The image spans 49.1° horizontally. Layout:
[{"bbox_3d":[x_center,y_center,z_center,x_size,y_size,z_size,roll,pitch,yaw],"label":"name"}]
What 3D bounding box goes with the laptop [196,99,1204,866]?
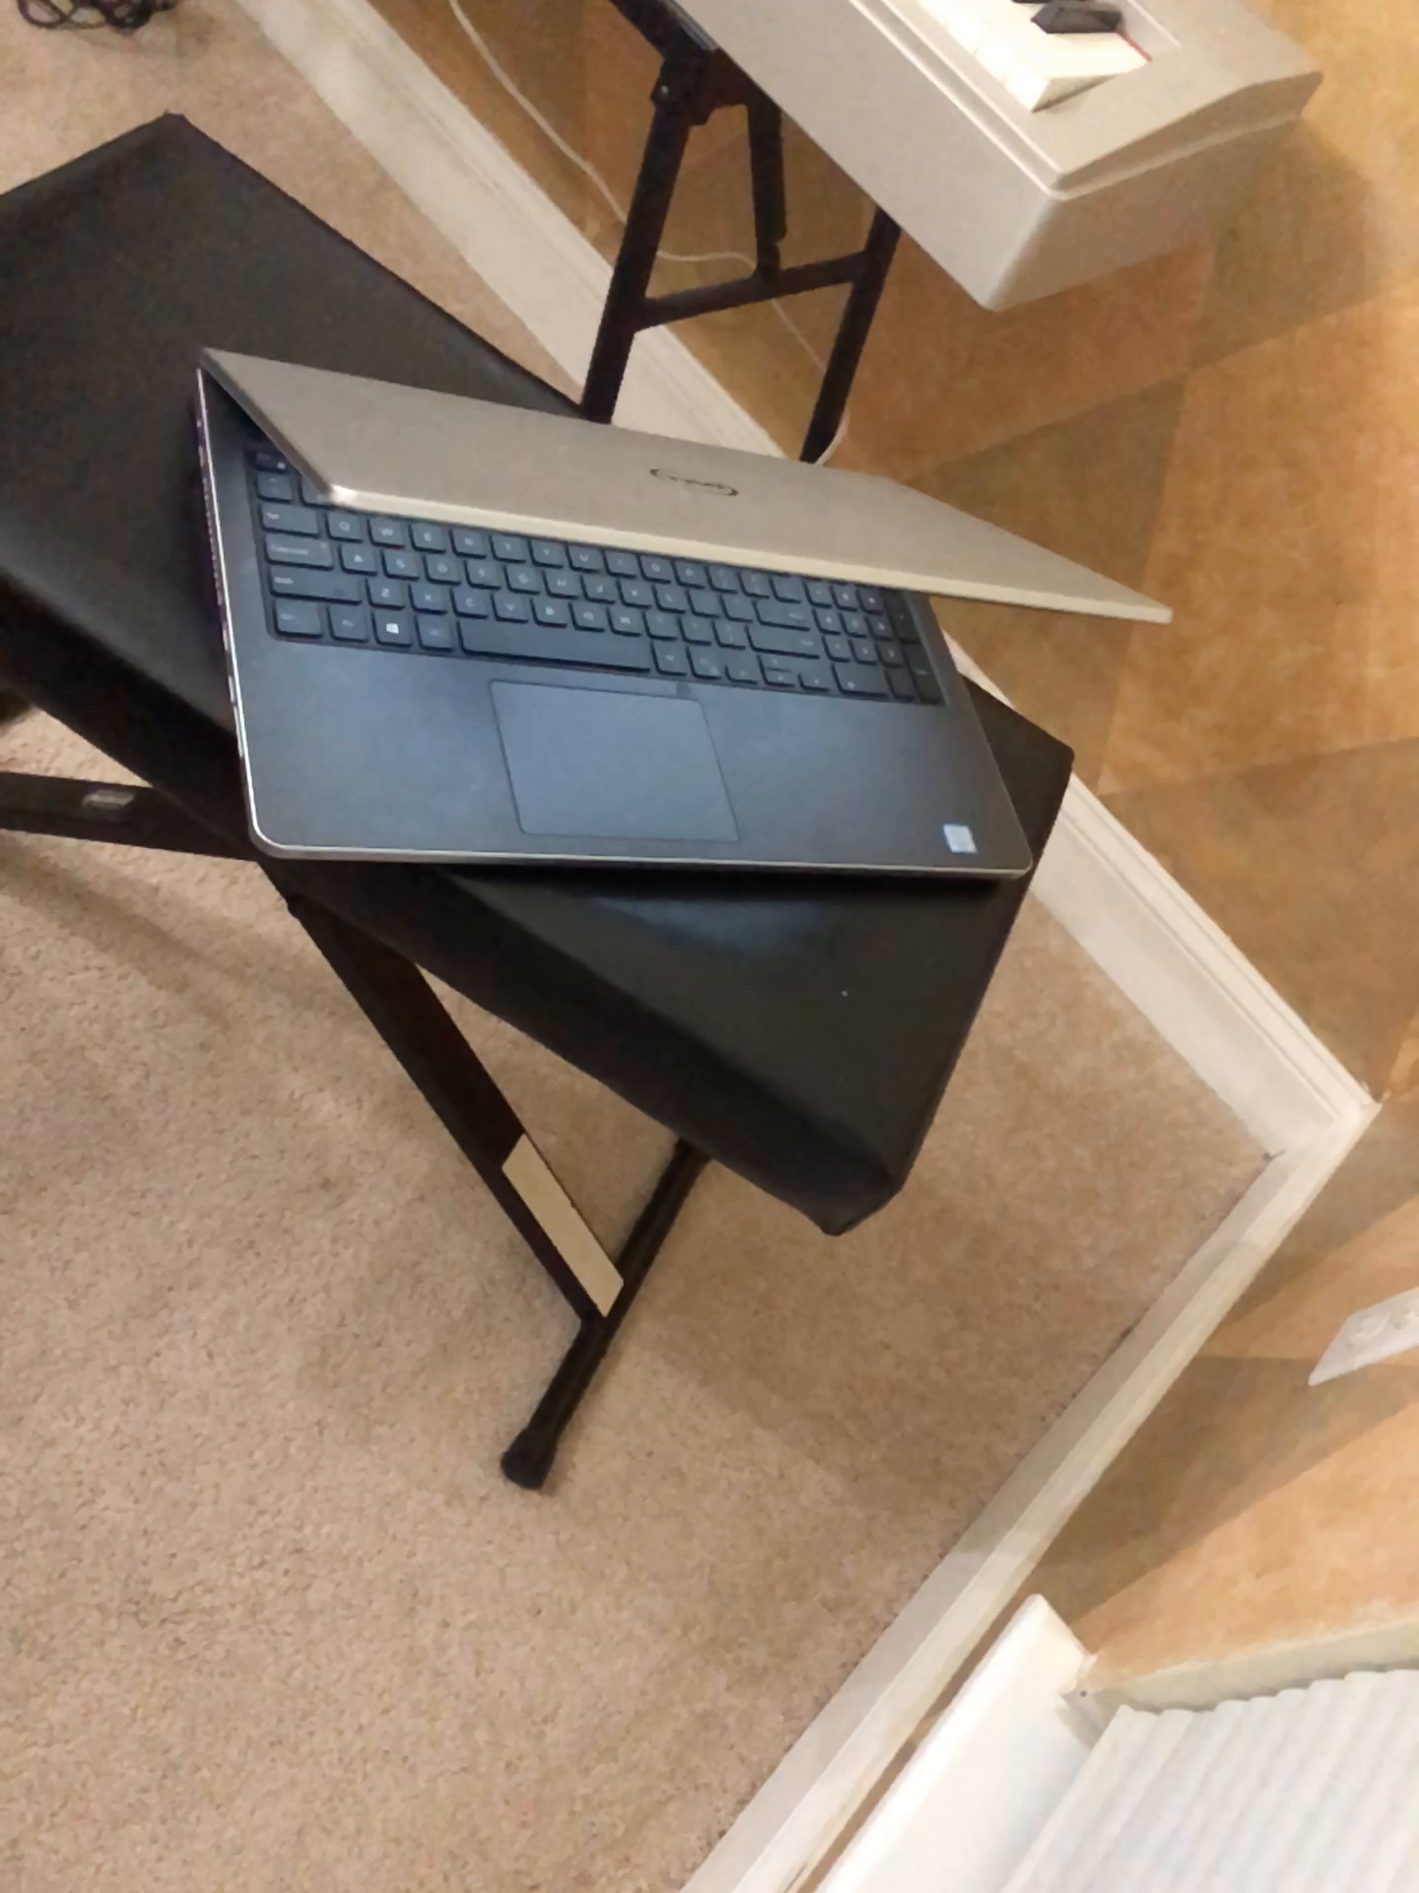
[{"bbox_3d":[-0.009,-0.186,0.695,0.377,0.132,0.256,0,61,-29],"label":"laptop"}]
